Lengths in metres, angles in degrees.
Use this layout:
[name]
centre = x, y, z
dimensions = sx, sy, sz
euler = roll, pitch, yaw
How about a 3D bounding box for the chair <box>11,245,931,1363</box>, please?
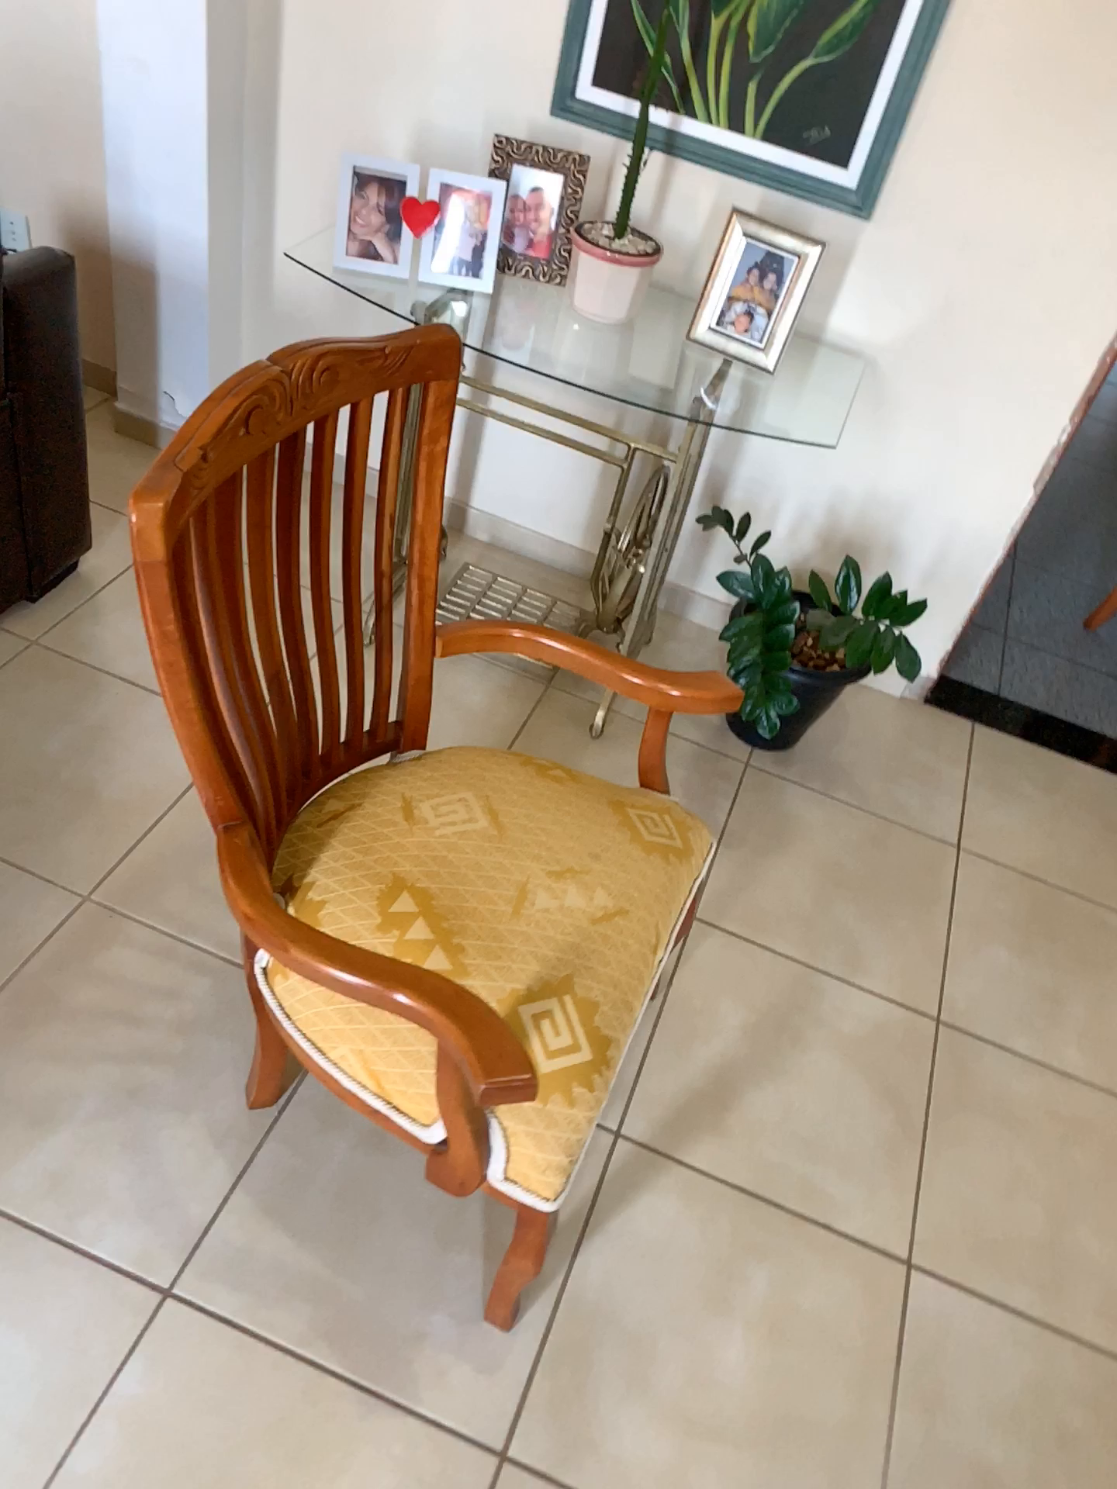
[chair]
centre = -0.109, 0.099, 1.356
dimensions = 0.630, 1.014, 0.623
euler = 23, 42, 8
